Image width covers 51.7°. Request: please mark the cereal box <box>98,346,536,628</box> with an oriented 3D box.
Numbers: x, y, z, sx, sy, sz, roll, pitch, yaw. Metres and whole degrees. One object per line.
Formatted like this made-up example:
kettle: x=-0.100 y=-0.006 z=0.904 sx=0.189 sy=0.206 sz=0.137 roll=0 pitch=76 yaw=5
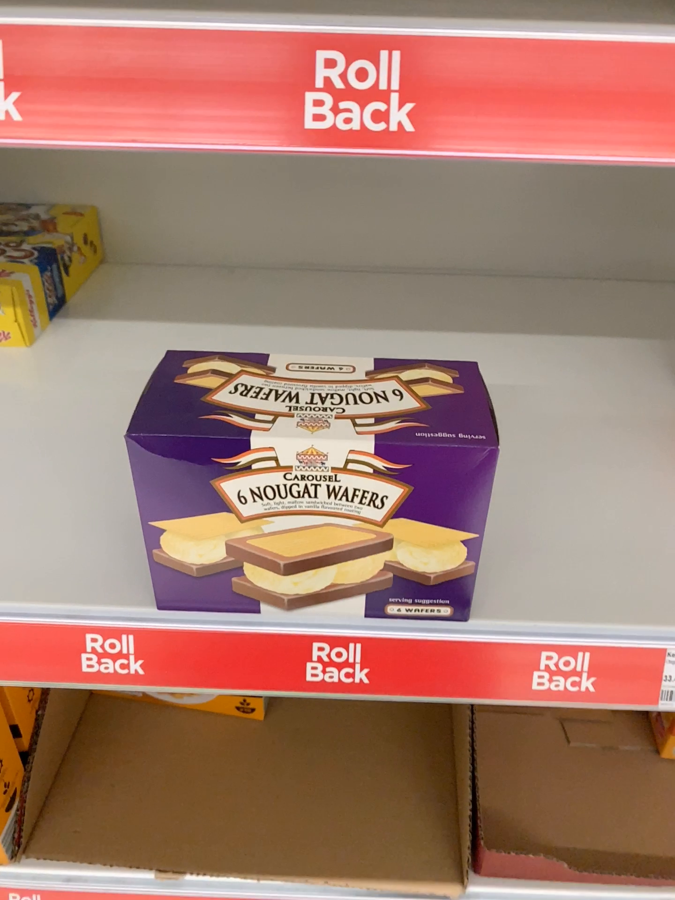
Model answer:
cereal box: x=-0.009 y=0.018 z=0.370 sx=0.190 sy=0.109 sz=0.091 roll=2 pitch=35 yaw=1
